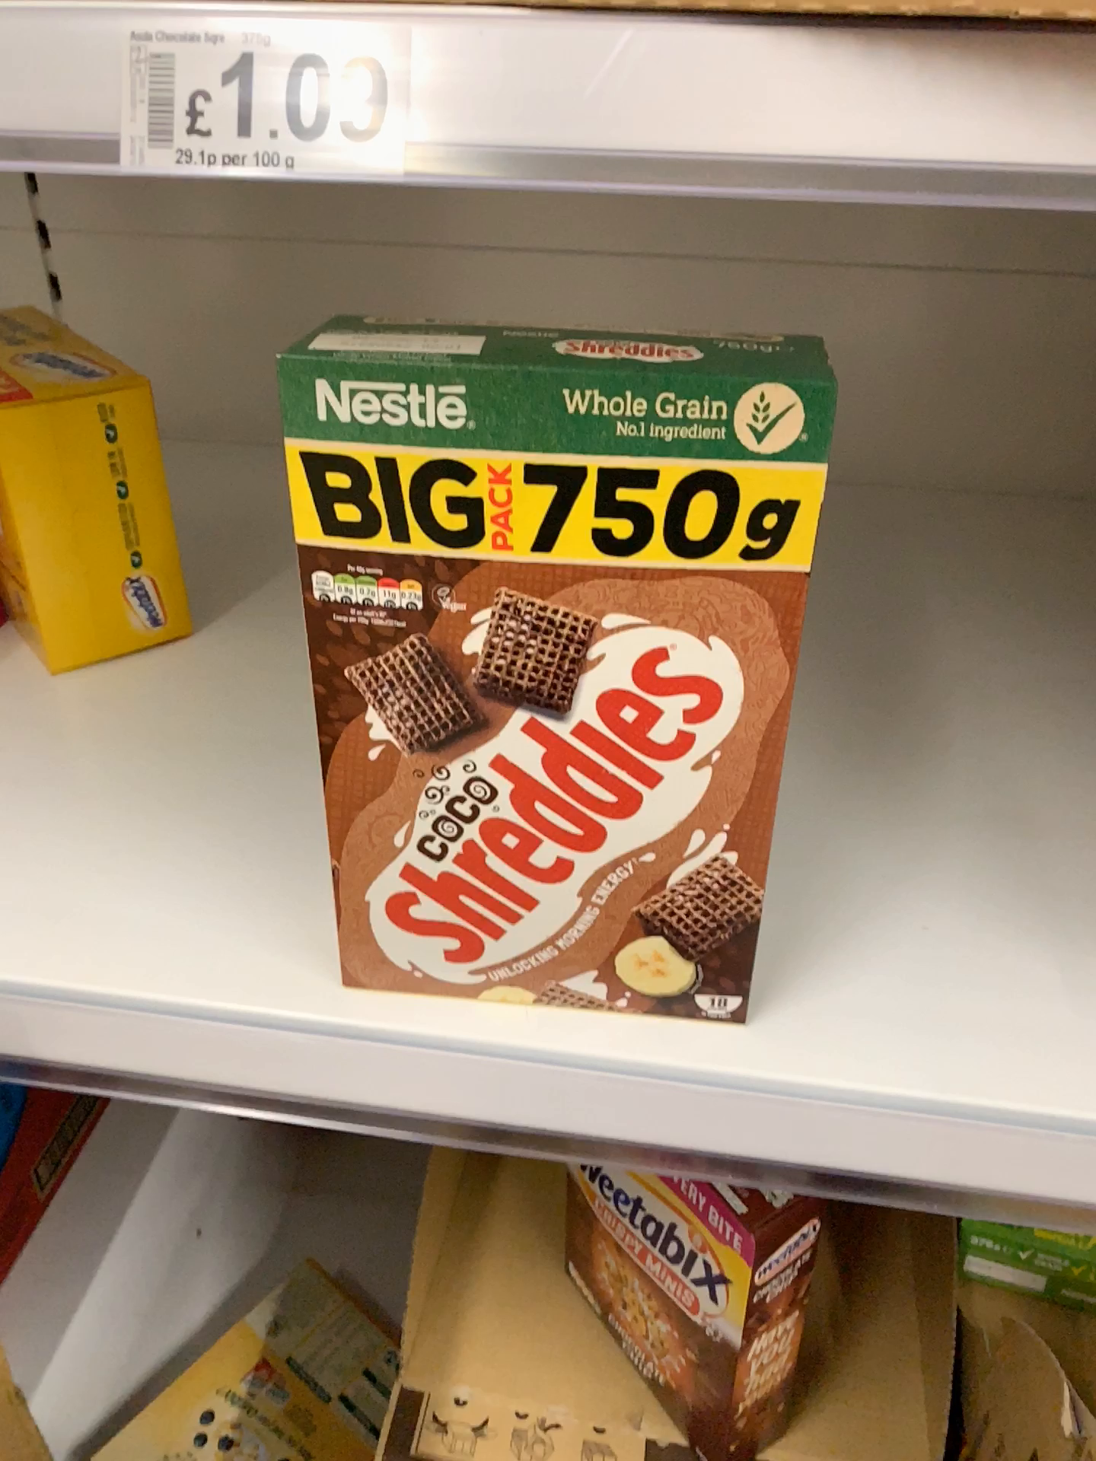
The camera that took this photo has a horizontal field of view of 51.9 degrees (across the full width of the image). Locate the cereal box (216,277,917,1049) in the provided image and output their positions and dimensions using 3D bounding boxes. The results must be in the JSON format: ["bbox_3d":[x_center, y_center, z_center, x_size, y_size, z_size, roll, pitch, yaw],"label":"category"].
[{"bbox_3d":[0.005,-0.015,0.447,0.210,0.287,0.081,5,33,6],"label":"cereal box"}]
